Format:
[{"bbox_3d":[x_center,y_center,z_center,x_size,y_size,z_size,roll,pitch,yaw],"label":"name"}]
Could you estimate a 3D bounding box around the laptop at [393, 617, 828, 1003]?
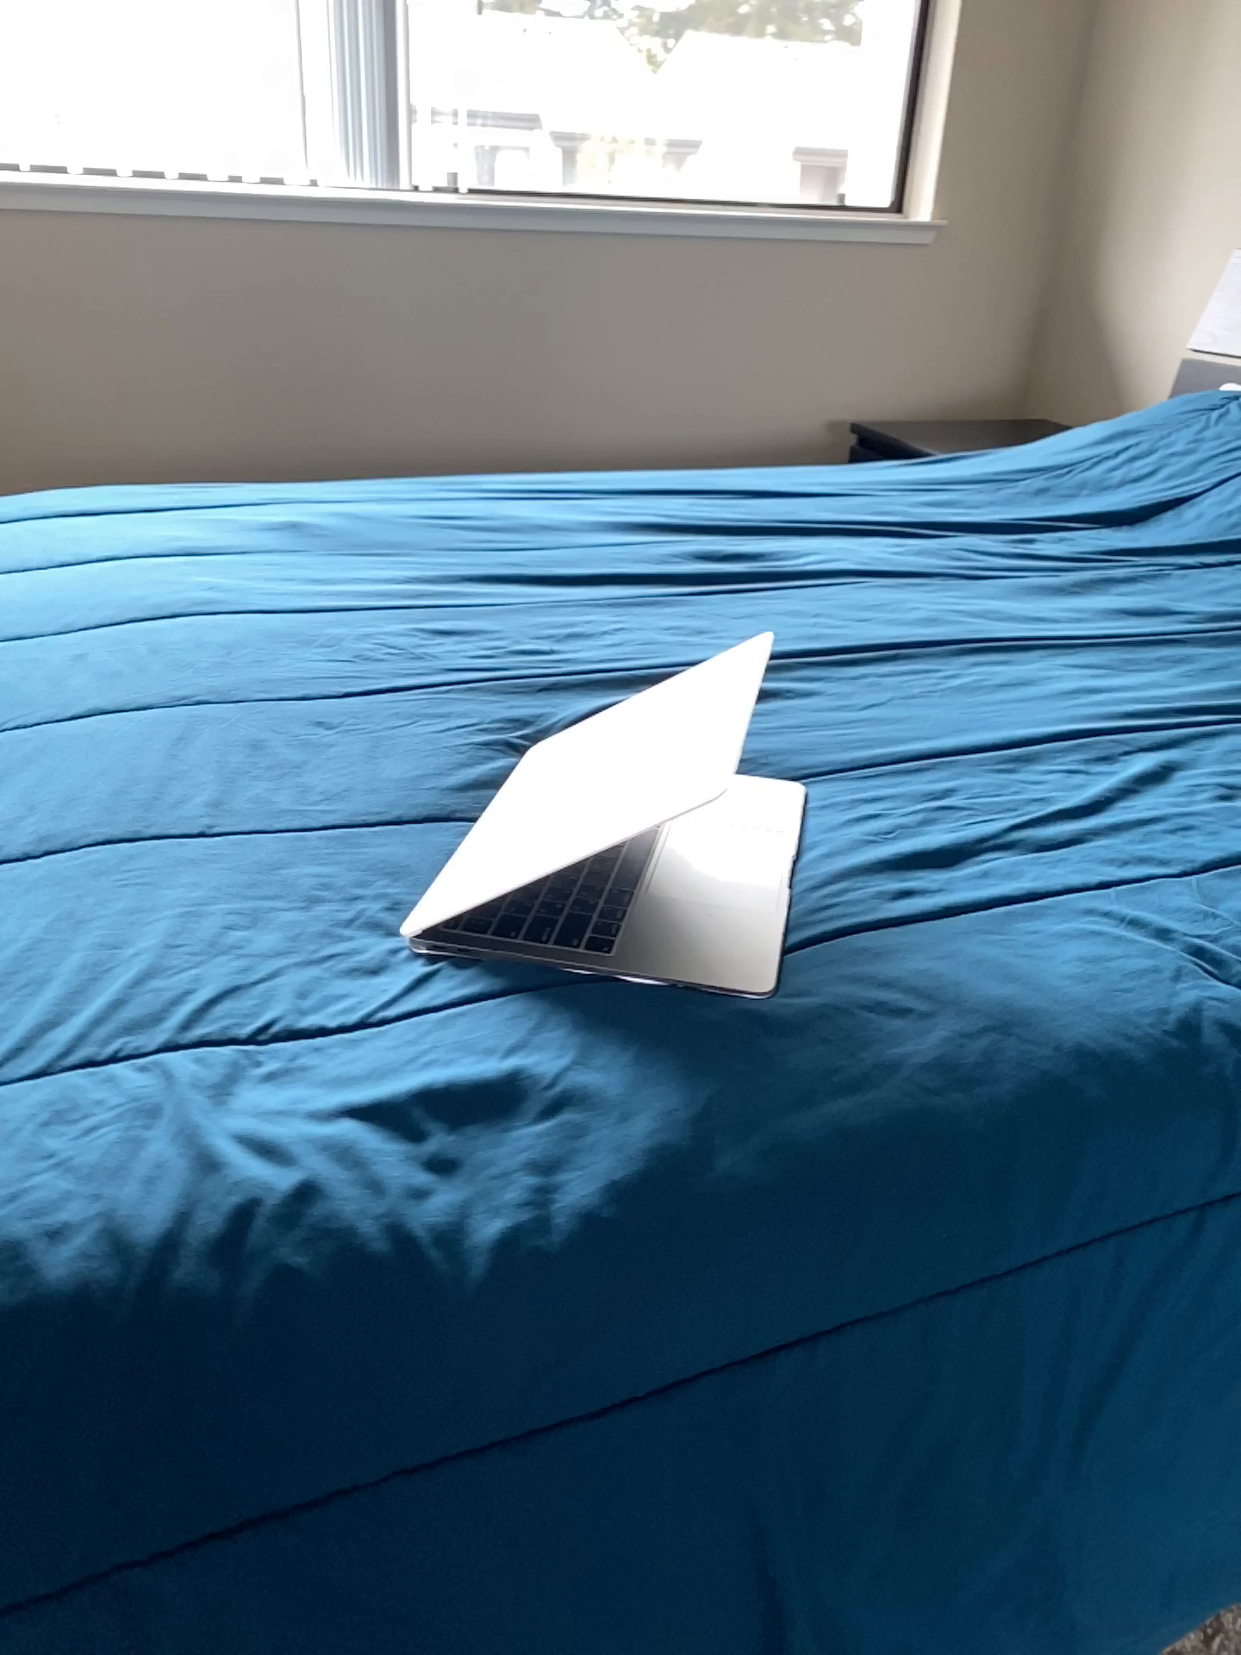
[{"bbox_3d":[0.013,-0.031,0.836,0.218,0.106,0.312,9,26,8],"label":"laptop"}]
